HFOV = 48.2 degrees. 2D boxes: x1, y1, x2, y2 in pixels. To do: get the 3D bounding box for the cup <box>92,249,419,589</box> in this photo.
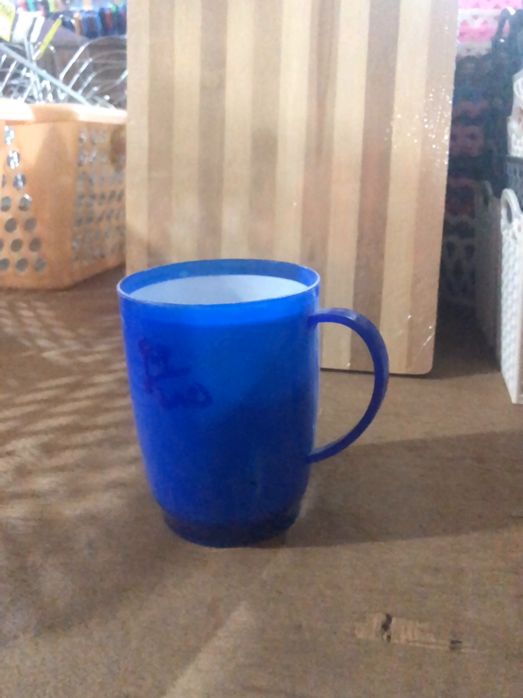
[{"bbox_3d":[0.004,0.020,0.244,0.110,0.110,0.070,4,21,18],"label":"cup"}]
